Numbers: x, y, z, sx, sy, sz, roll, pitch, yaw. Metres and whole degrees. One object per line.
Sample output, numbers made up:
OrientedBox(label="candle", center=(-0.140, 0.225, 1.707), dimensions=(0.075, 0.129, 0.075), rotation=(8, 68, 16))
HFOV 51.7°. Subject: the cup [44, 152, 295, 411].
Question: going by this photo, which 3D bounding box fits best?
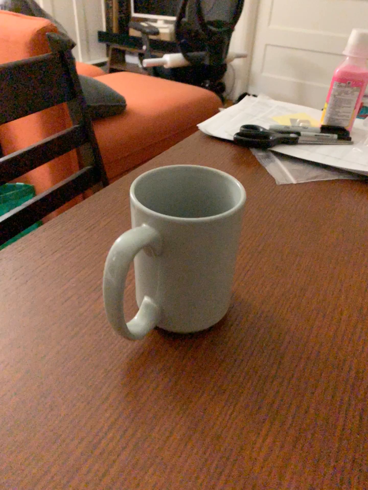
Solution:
OrientedBox(label="cup", center=(-0.007, 0.015, 0.288), dimensions=(0.100, 0.109, 0.140), rotation=(30, 44, 31))
